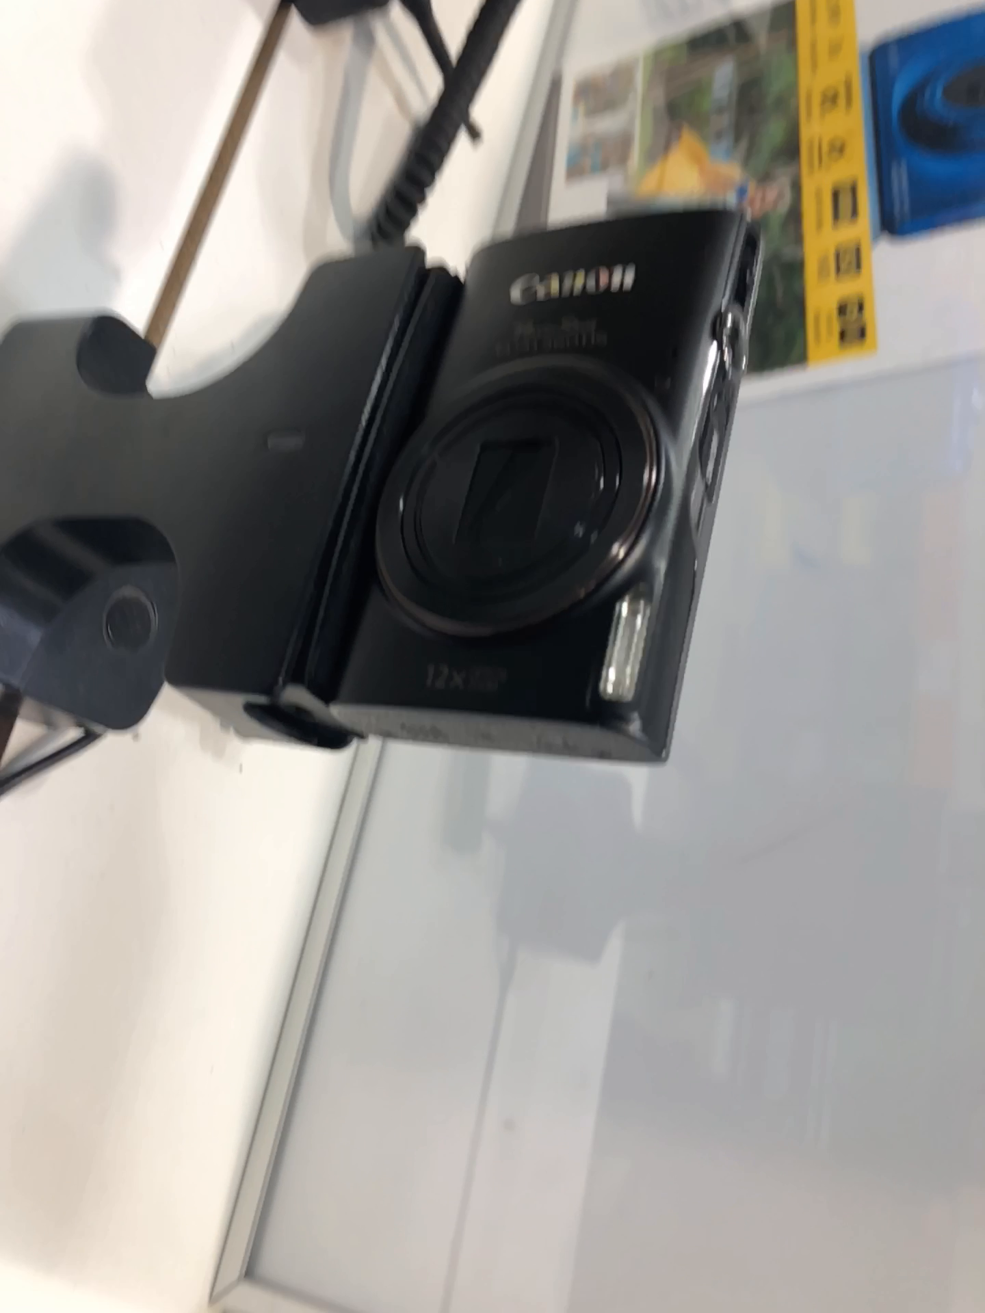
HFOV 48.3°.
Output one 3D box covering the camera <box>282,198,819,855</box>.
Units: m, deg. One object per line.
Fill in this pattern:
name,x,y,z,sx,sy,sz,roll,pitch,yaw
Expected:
camera,0.015,-0.025,0.199,0.030,0.070,0.110,48,50,-52
